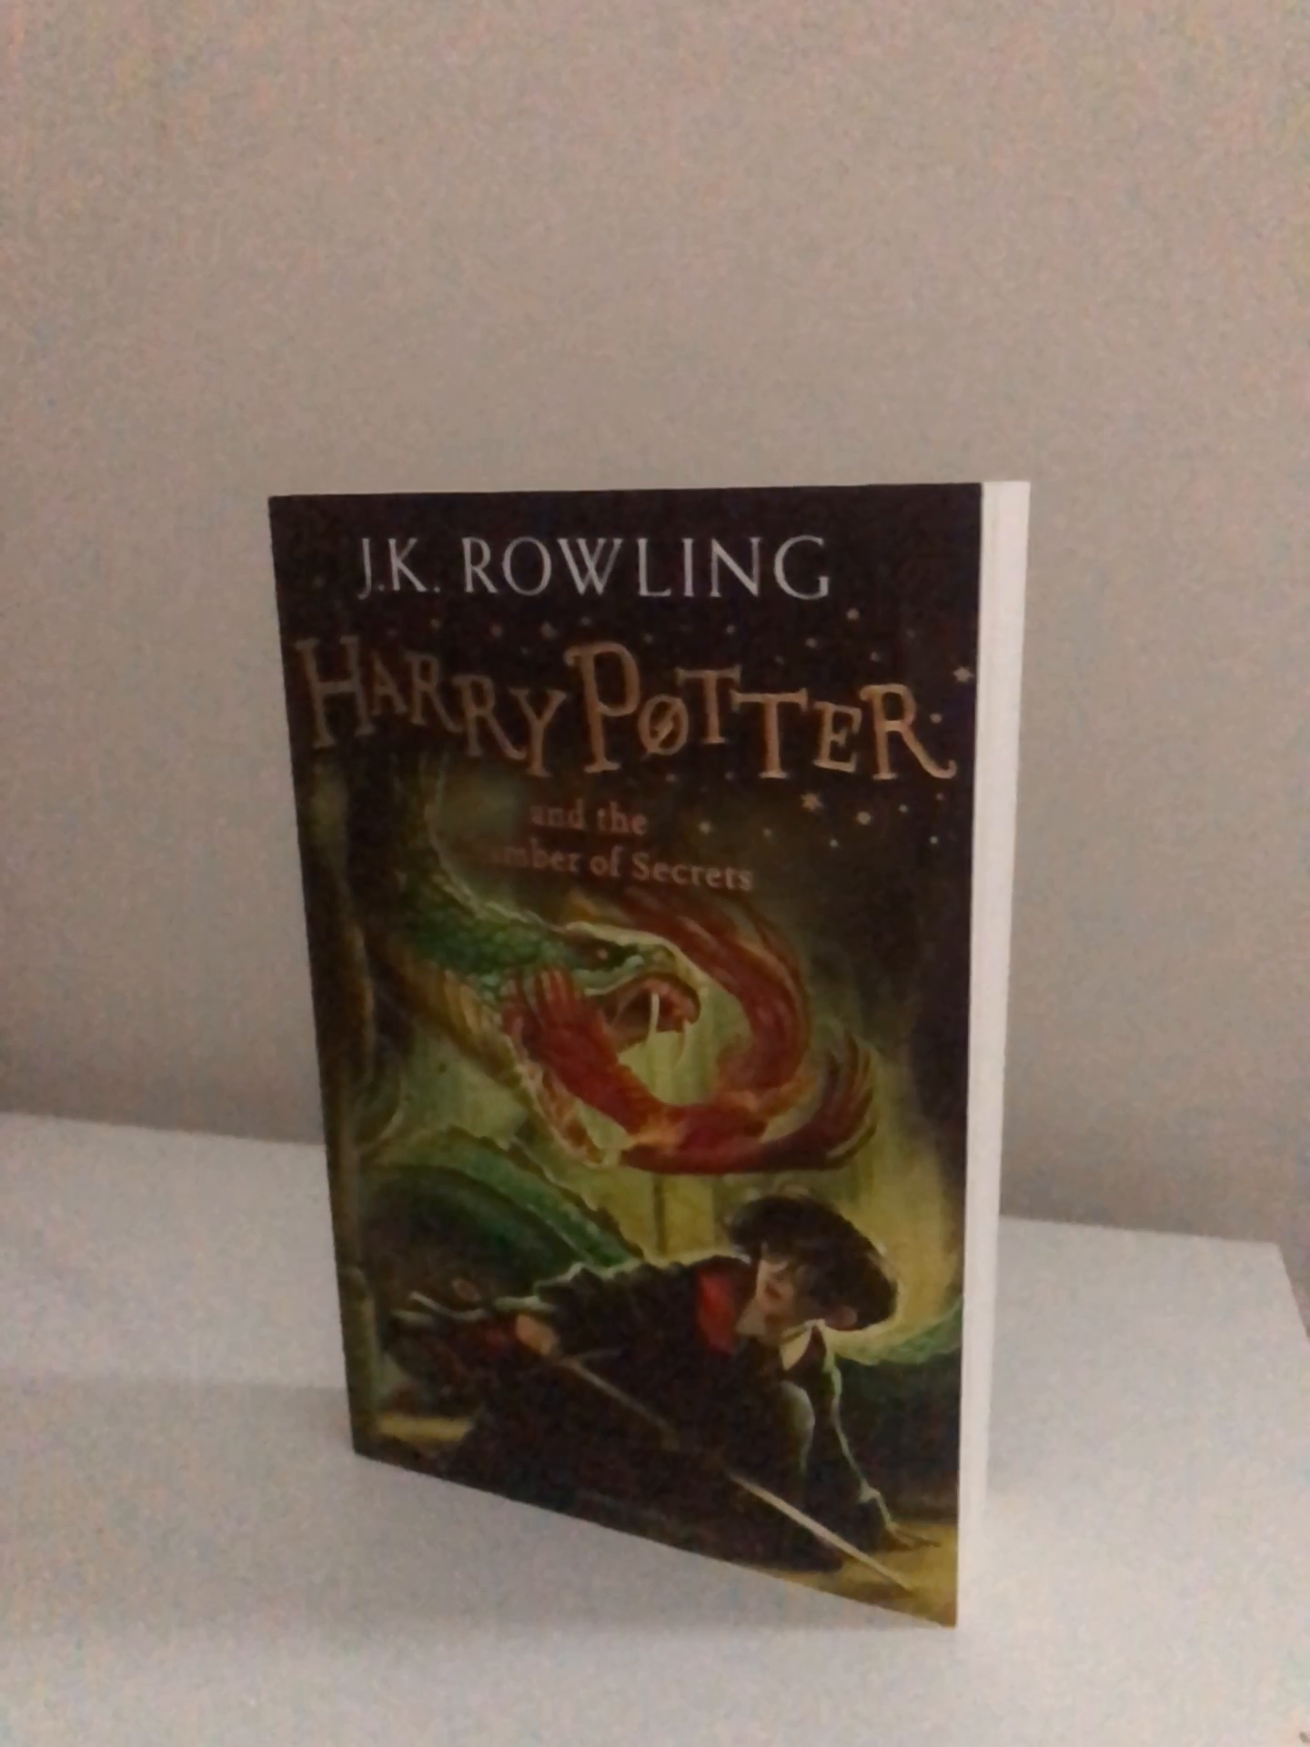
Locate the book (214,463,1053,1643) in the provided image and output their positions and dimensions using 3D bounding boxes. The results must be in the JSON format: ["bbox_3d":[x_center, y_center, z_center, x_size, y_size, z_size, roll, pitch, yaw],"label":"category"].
[{"bbox_3d":[-0.002,0.028,0.263,0.130,0.190,0.039,5,19,24],"label":"book"}]
